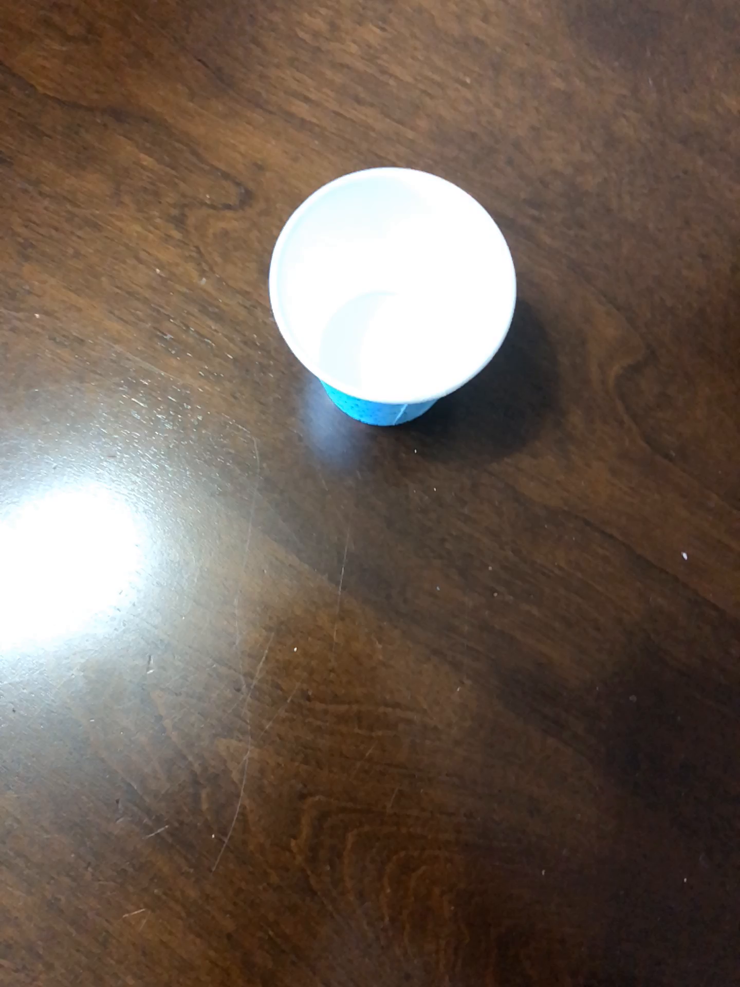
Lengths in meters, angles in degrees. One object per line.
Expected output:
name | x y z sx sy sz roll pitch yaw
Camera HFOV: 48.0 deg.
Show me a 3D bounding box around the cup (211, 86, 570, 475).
cup | 0.005 -0.051 0.221 0.060 0.060 0.060 0 81 -1
